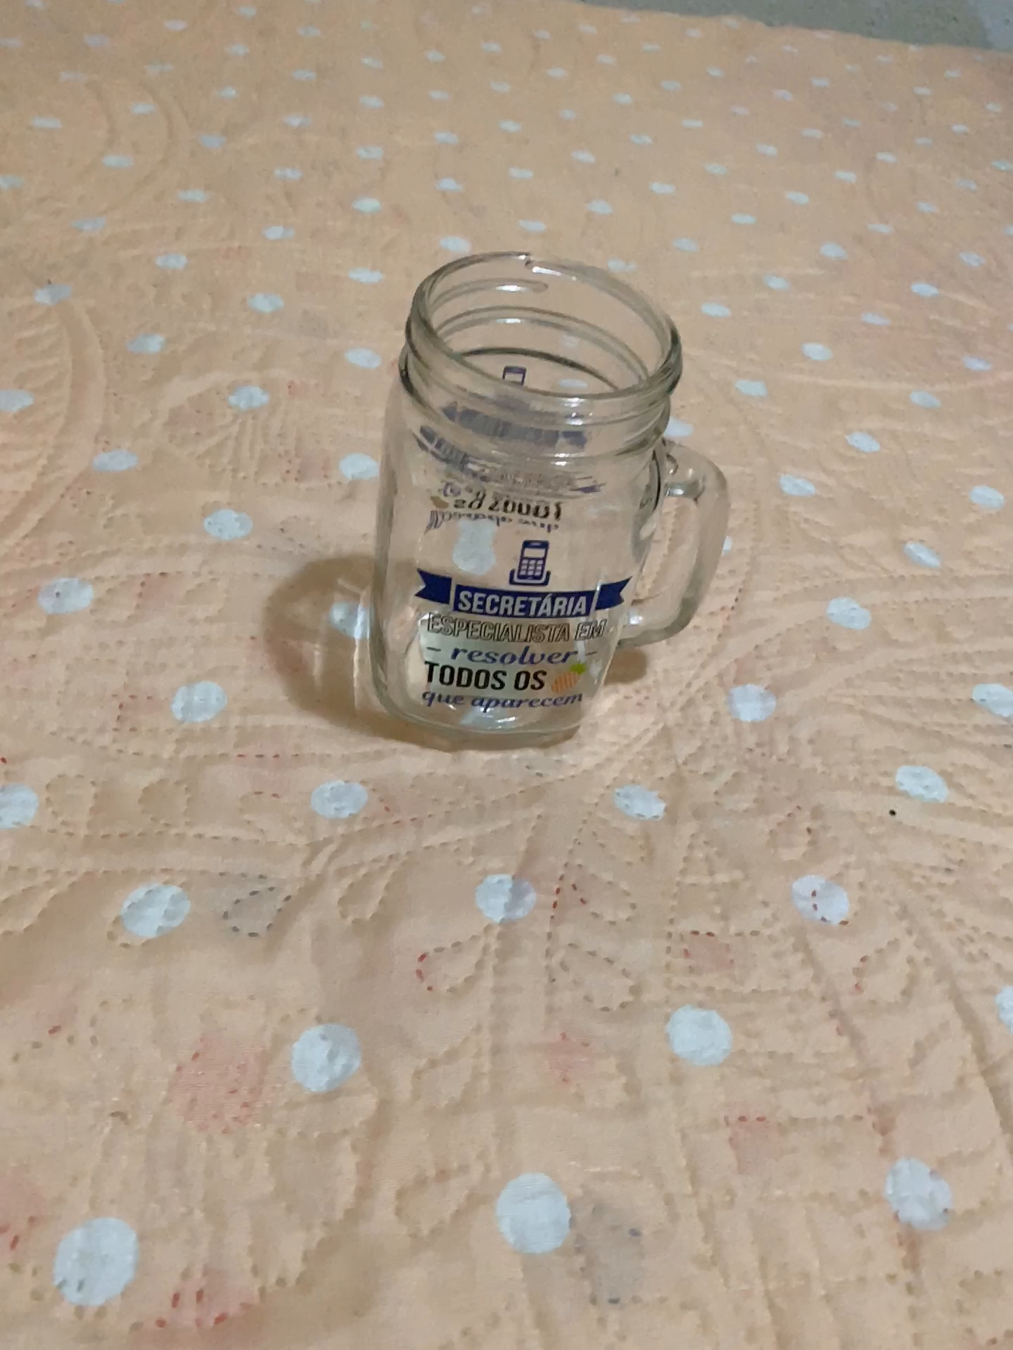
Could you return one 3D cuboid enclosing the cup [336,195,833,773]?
[{"bbox_3d":[0.010,-0.047,0.284,0.100,0.119,0.080,6,45,-6],"label":"cup"}]
